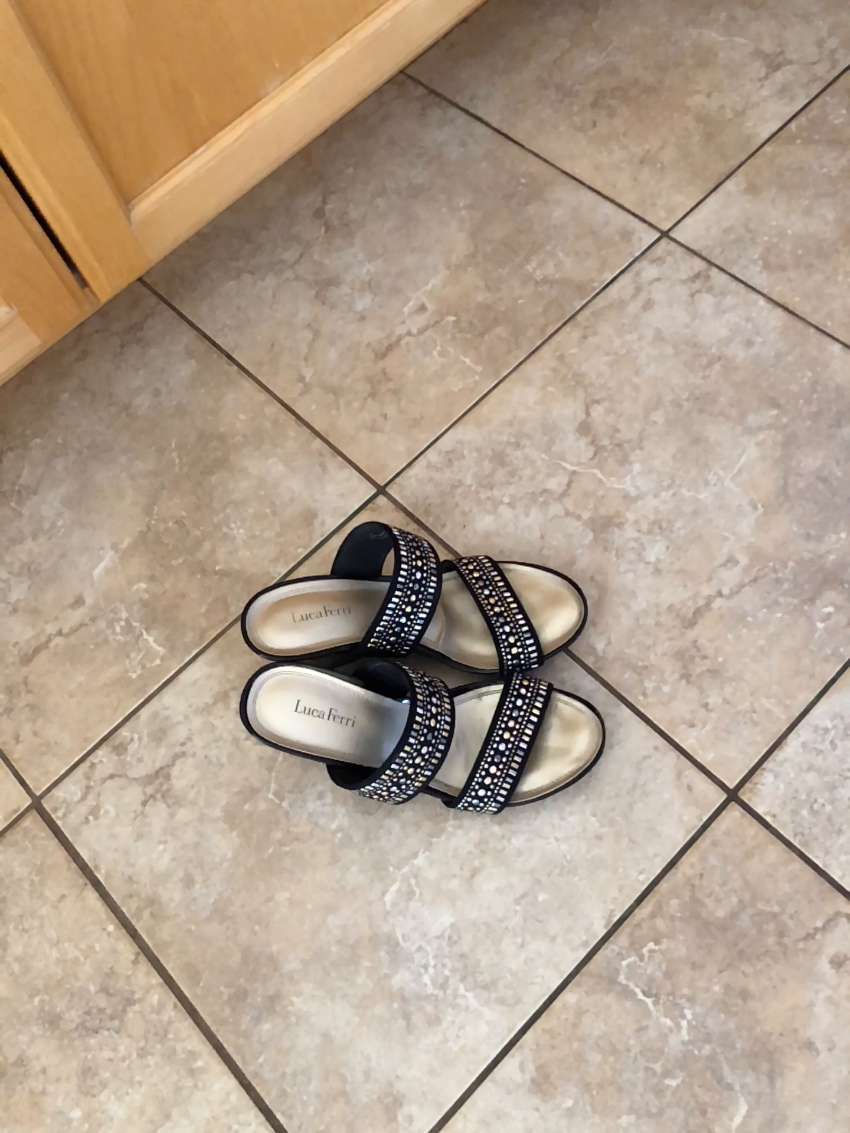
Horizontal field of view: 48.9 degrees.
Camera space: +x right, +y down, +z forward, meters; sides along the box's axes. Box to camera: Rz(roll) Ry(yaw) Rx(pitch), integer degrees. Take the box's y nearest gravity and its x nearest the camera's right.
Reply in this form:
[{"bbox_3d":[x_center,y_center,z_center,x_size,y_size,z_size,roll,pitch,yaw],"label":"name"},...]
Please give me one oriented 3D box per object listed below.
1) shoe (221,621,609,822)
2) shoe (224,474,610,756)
[{"bbox_3d":[0.001,0.099,0.589,0.220,0.100,0.090,2,66,9],"label":"shoe"},{"bbox_3d":[-0.004,0.036,0.612,0.220,0.100,0.110,-13,65,2],"label":"shoe"}]
